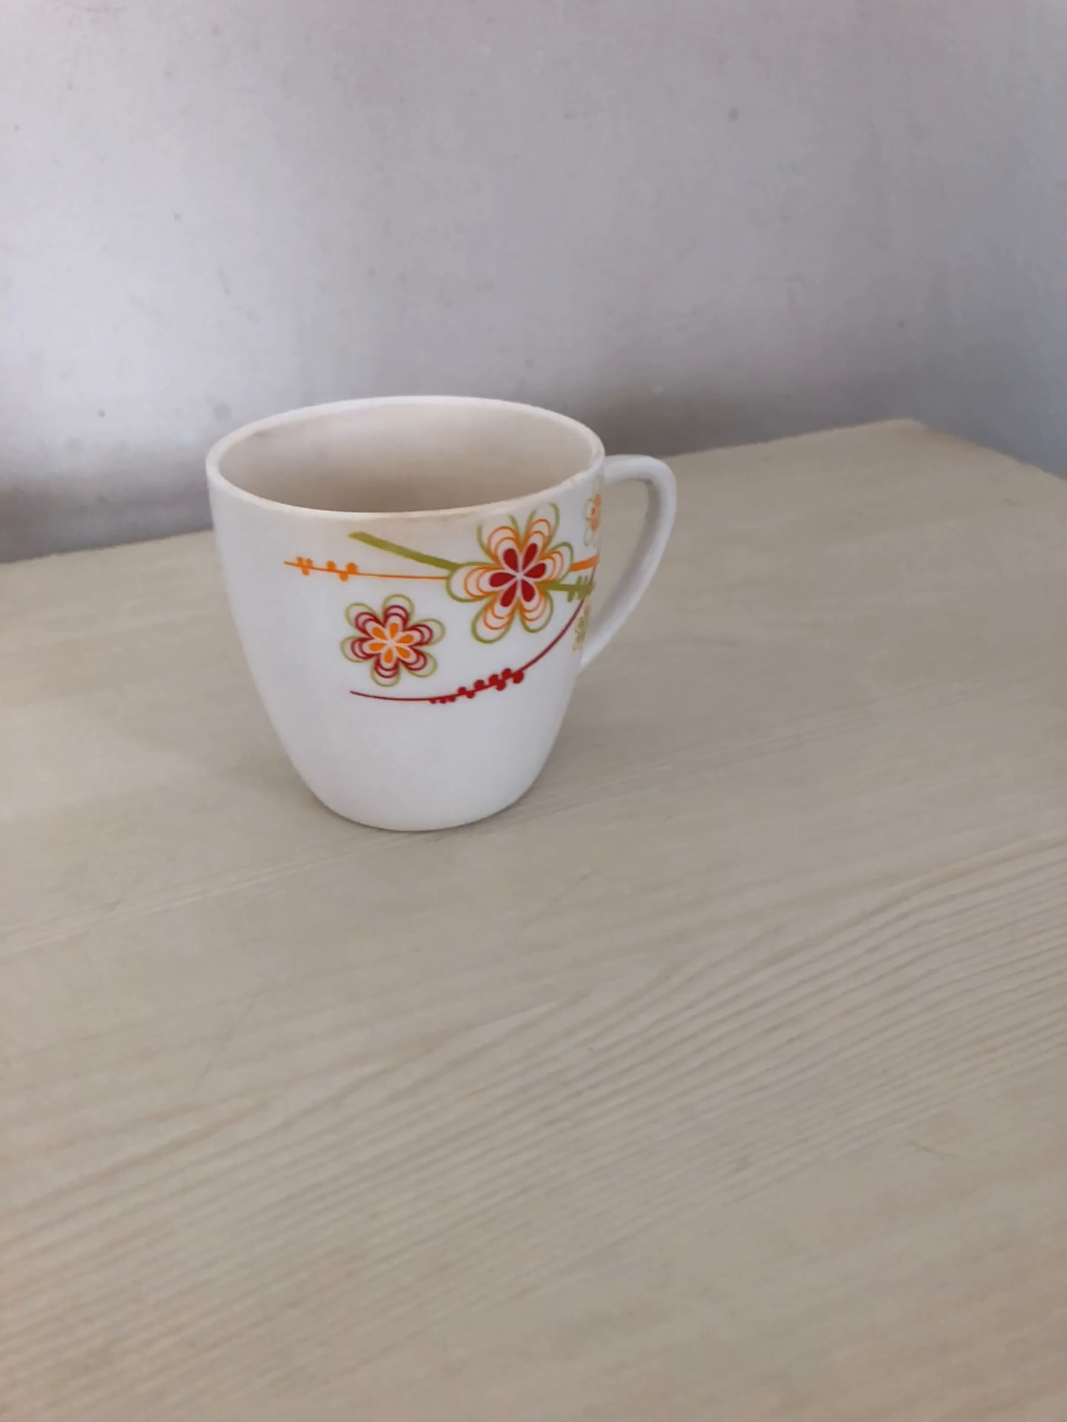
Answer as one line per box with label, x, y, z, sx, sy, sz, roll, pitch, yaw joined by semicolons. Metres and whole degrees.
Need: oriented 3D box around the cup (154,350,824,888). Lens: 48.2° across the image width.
cup;-0.009;-0.027;0.249;0.110;0.070;0.070;-16;32;-28
